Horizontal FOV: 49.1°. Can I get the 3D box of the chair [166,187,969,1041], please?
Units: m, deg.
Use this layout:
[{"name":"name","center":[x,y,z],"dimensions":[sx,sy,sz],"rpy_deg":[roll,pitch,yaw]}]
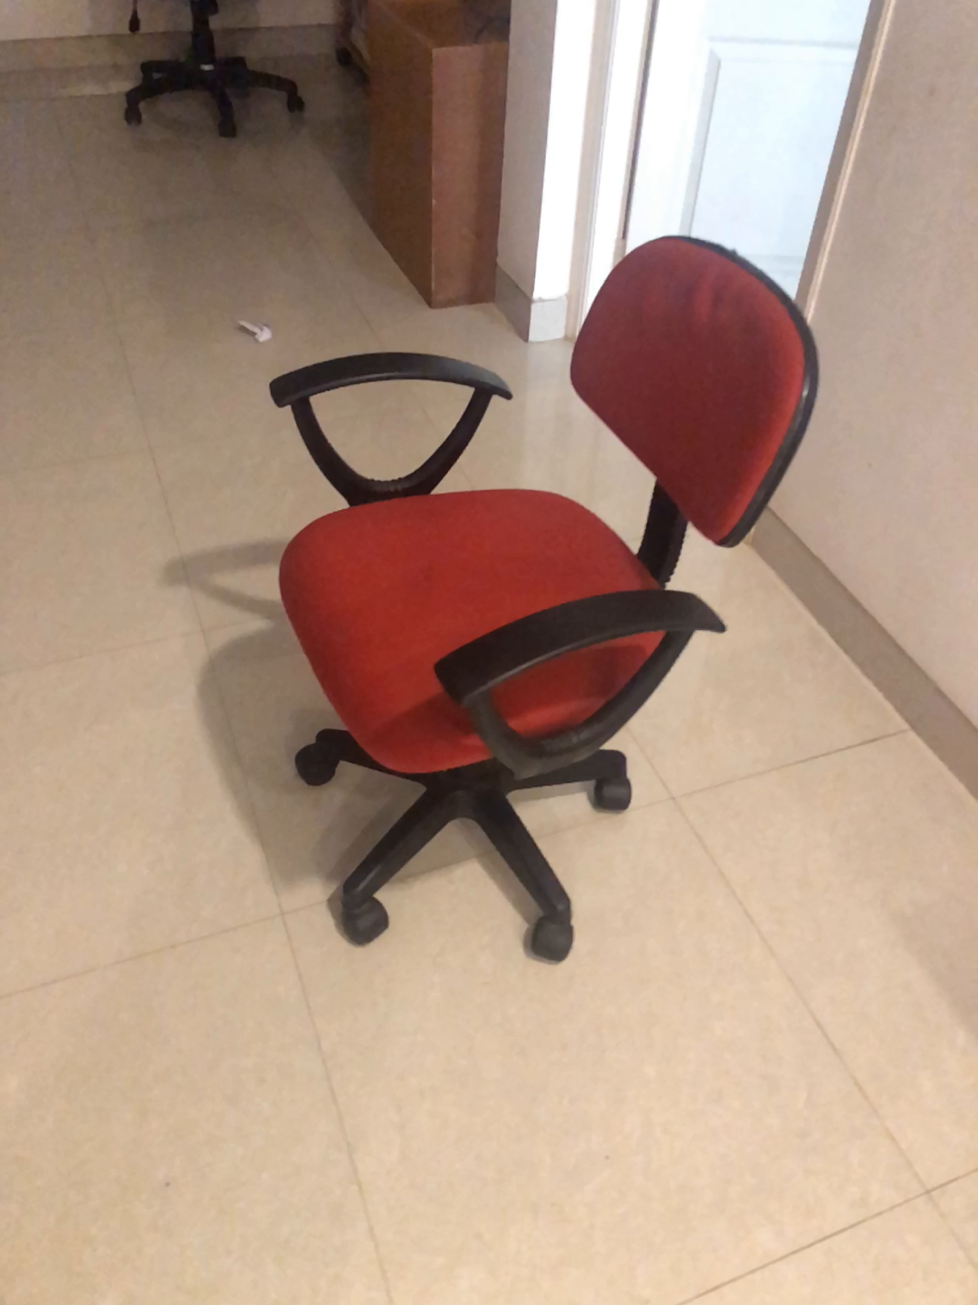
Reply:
[{"name":"chair","center":[0.027,-0.058,1.276],"dimensions":[0.601,0.725,0.543],"rpy_deg":[-14,45,-18]}]
